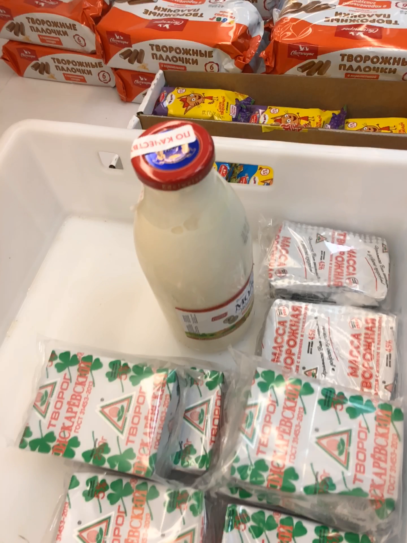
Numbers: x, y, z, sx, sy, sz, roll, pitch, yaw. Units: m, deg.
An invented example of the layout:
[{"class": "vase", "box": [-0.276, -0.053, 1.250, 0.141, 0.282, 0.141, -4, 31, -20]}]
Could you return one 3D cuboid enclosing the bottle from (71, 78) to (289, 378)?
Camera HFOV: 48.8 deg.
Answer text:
[{"class": "bottle", "box": [0.002, -0.013, 0.320, 0.090, 0.209, 0.090, -4, 57, 6]}]
